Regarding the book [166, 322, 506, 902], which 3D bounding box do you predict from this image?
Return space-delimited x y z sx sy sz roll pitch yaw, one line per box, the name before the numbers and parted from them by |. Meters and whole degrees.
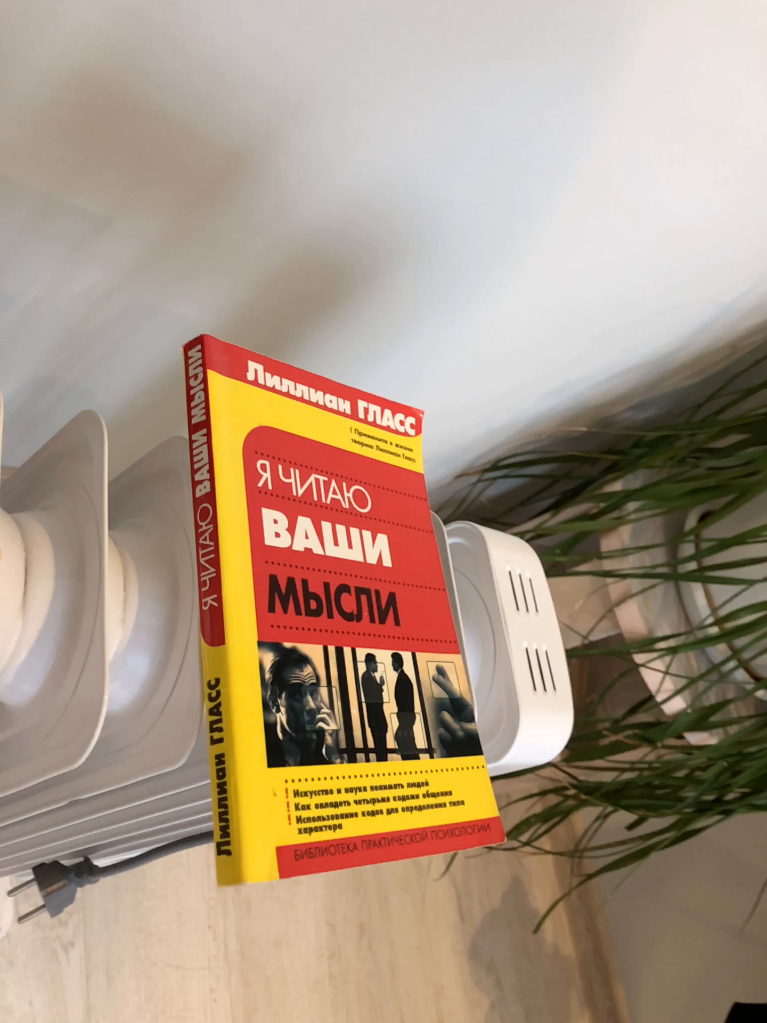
book | -0.020 0.034 0.342 0.129 0.020 0.207 13 59 -43
